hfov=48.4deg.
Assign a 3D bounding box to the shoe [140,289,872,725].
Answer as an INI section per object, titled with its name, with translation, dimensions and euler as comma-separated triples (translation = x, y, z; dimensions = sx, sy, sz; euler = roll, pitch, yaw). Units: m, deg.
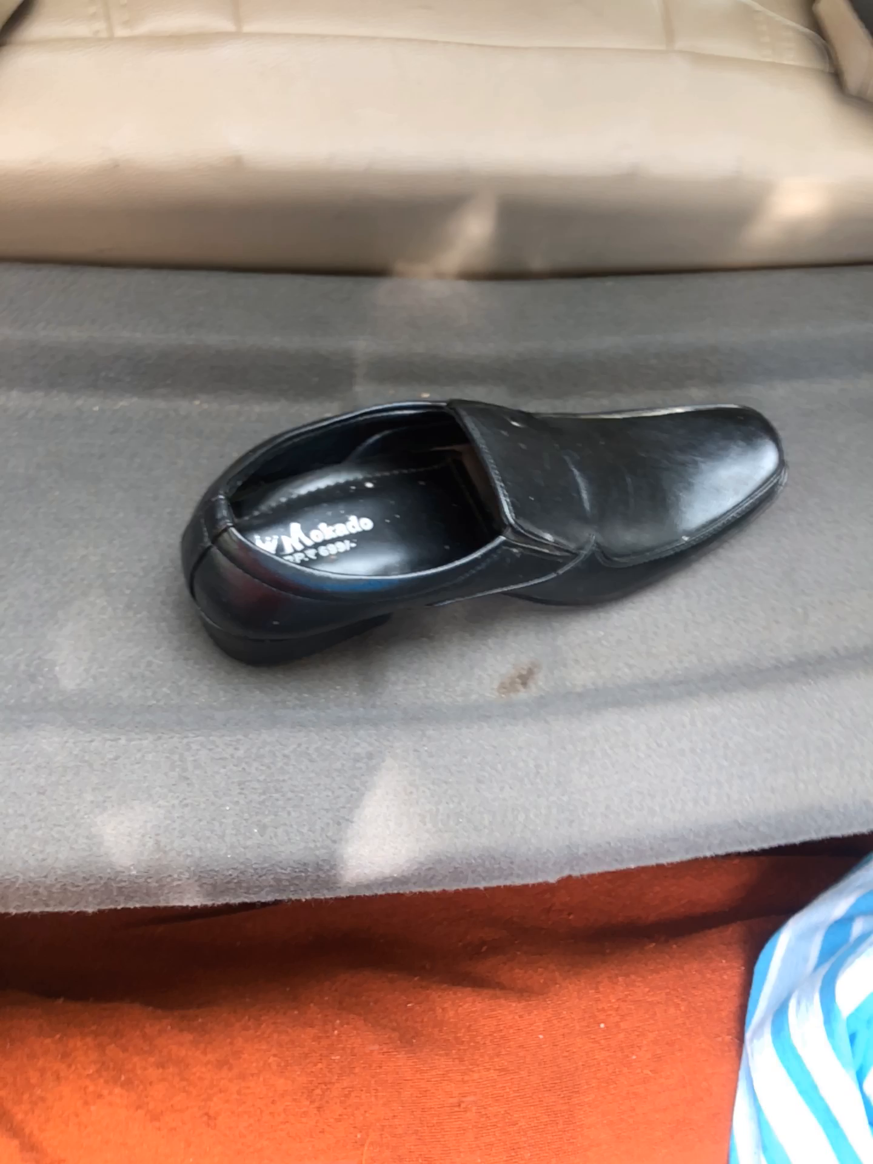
[shoe]
translation = 0.037, -0.040, 0.431
dimensions = 0.301, 0.080, 0.100
euler = -15, 63, -16
